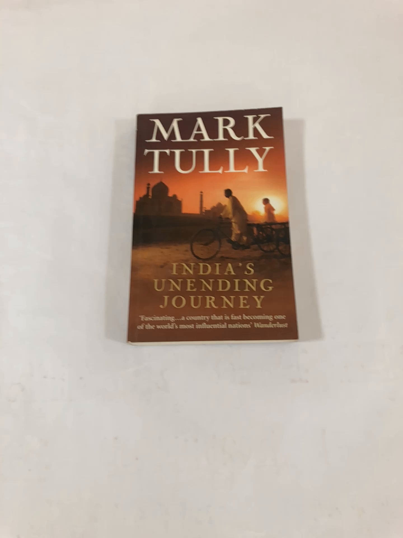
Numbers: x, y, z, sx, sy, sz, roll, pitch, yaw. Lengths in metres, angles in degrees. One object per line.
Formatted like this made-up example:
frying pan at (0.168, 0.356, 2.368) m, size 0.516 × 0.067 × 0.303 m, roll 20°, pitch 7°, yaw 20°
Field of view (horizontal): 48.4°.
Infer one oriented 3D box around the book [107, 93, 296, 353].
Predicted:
book at (0.000, -0.041, 0.356) m, size 0.130 × 0.030 × 0.210 m, roll 0°, pitch 72°, yaw 1°
